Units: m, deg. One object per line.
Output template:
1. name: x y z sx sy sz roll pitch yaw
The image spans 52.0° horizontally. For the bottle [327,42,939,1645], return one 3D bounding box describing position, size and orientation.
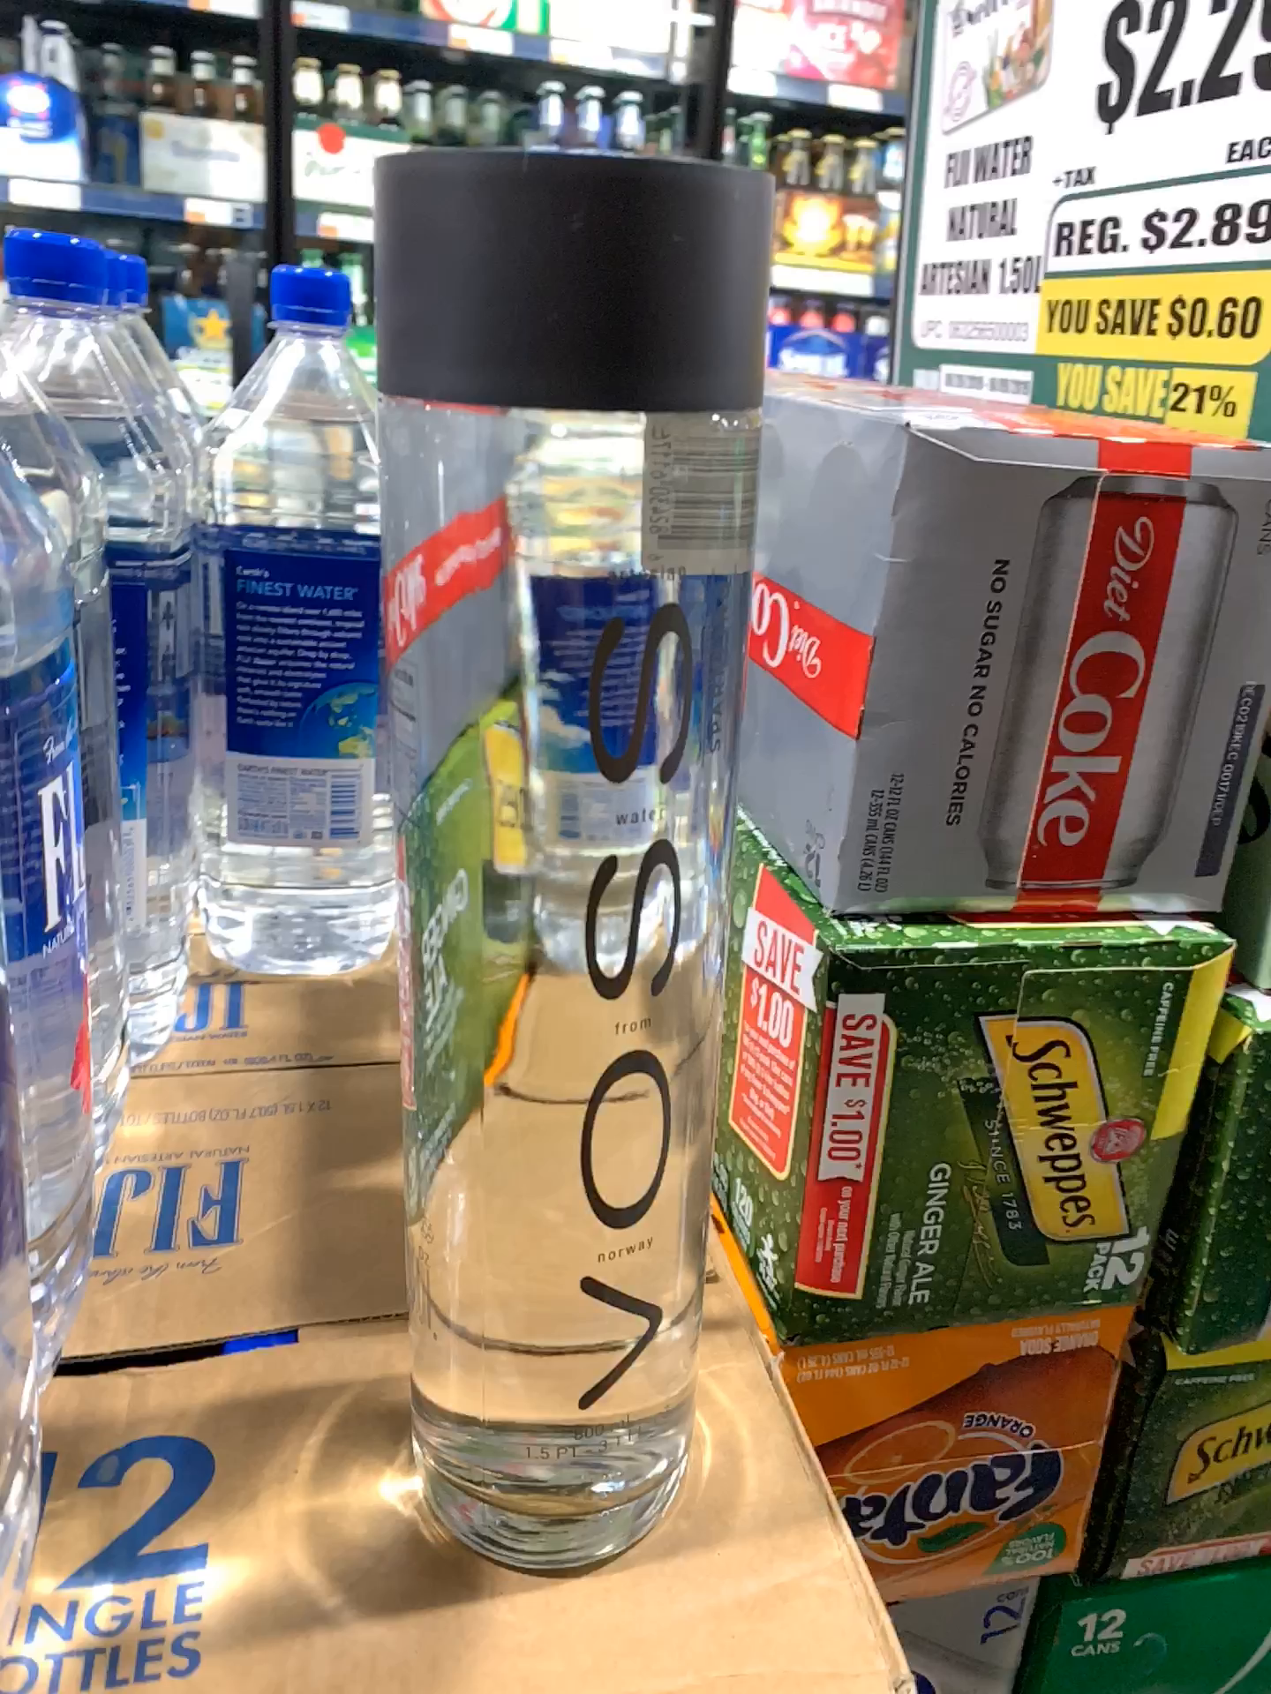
1. bottle: -0.016 0.015 0.266 0.080 0.289 0.080 4 21 -1
